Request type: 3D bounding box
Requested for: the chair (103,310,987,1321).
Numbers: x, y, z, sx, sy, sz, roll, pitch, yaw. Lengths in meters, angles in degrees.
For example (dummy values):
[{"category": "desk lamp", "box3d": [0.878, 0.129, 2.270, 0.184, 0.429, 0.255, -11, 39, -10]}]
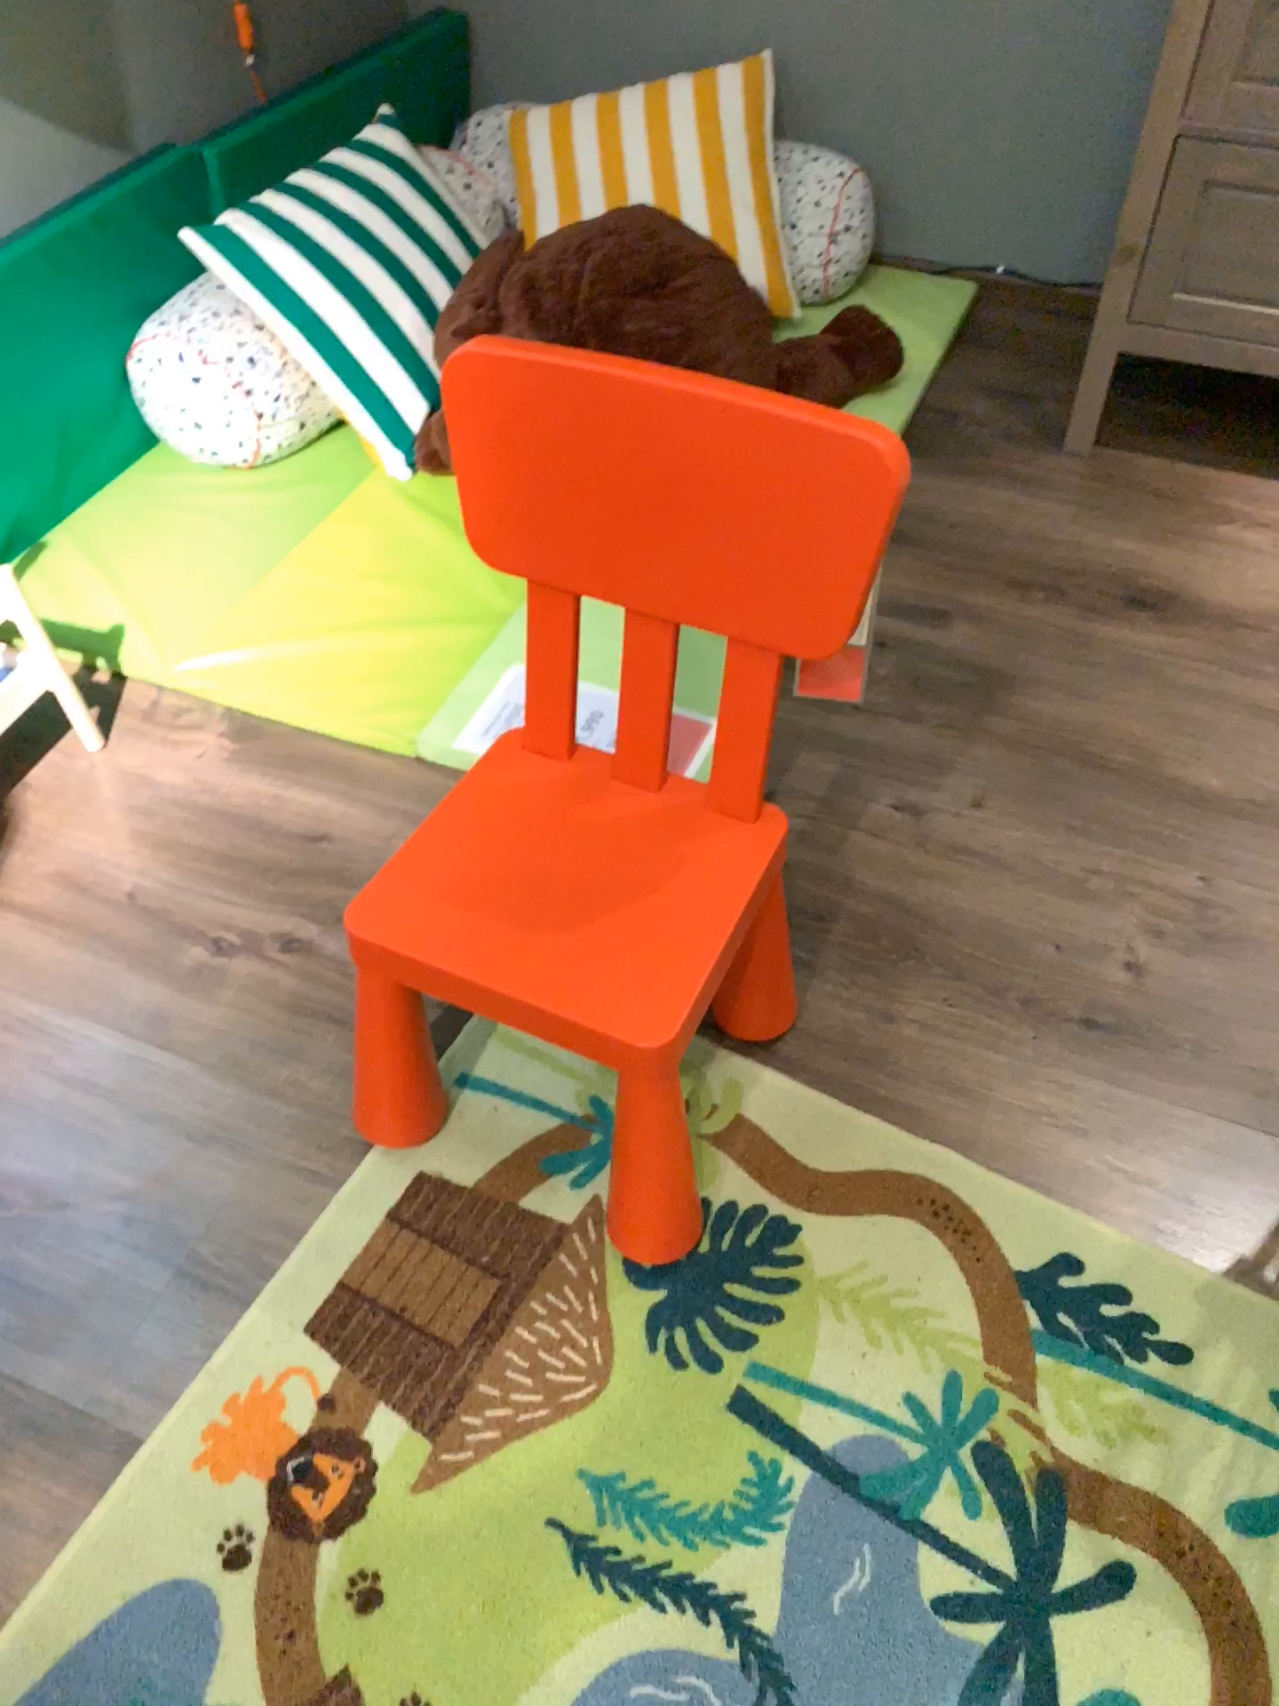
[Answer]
[{"category": "chair", "box3d": [-0.033, -0.031, 1.119, 0.431, 0.598, 0.491, 19, 50, 17]}]
